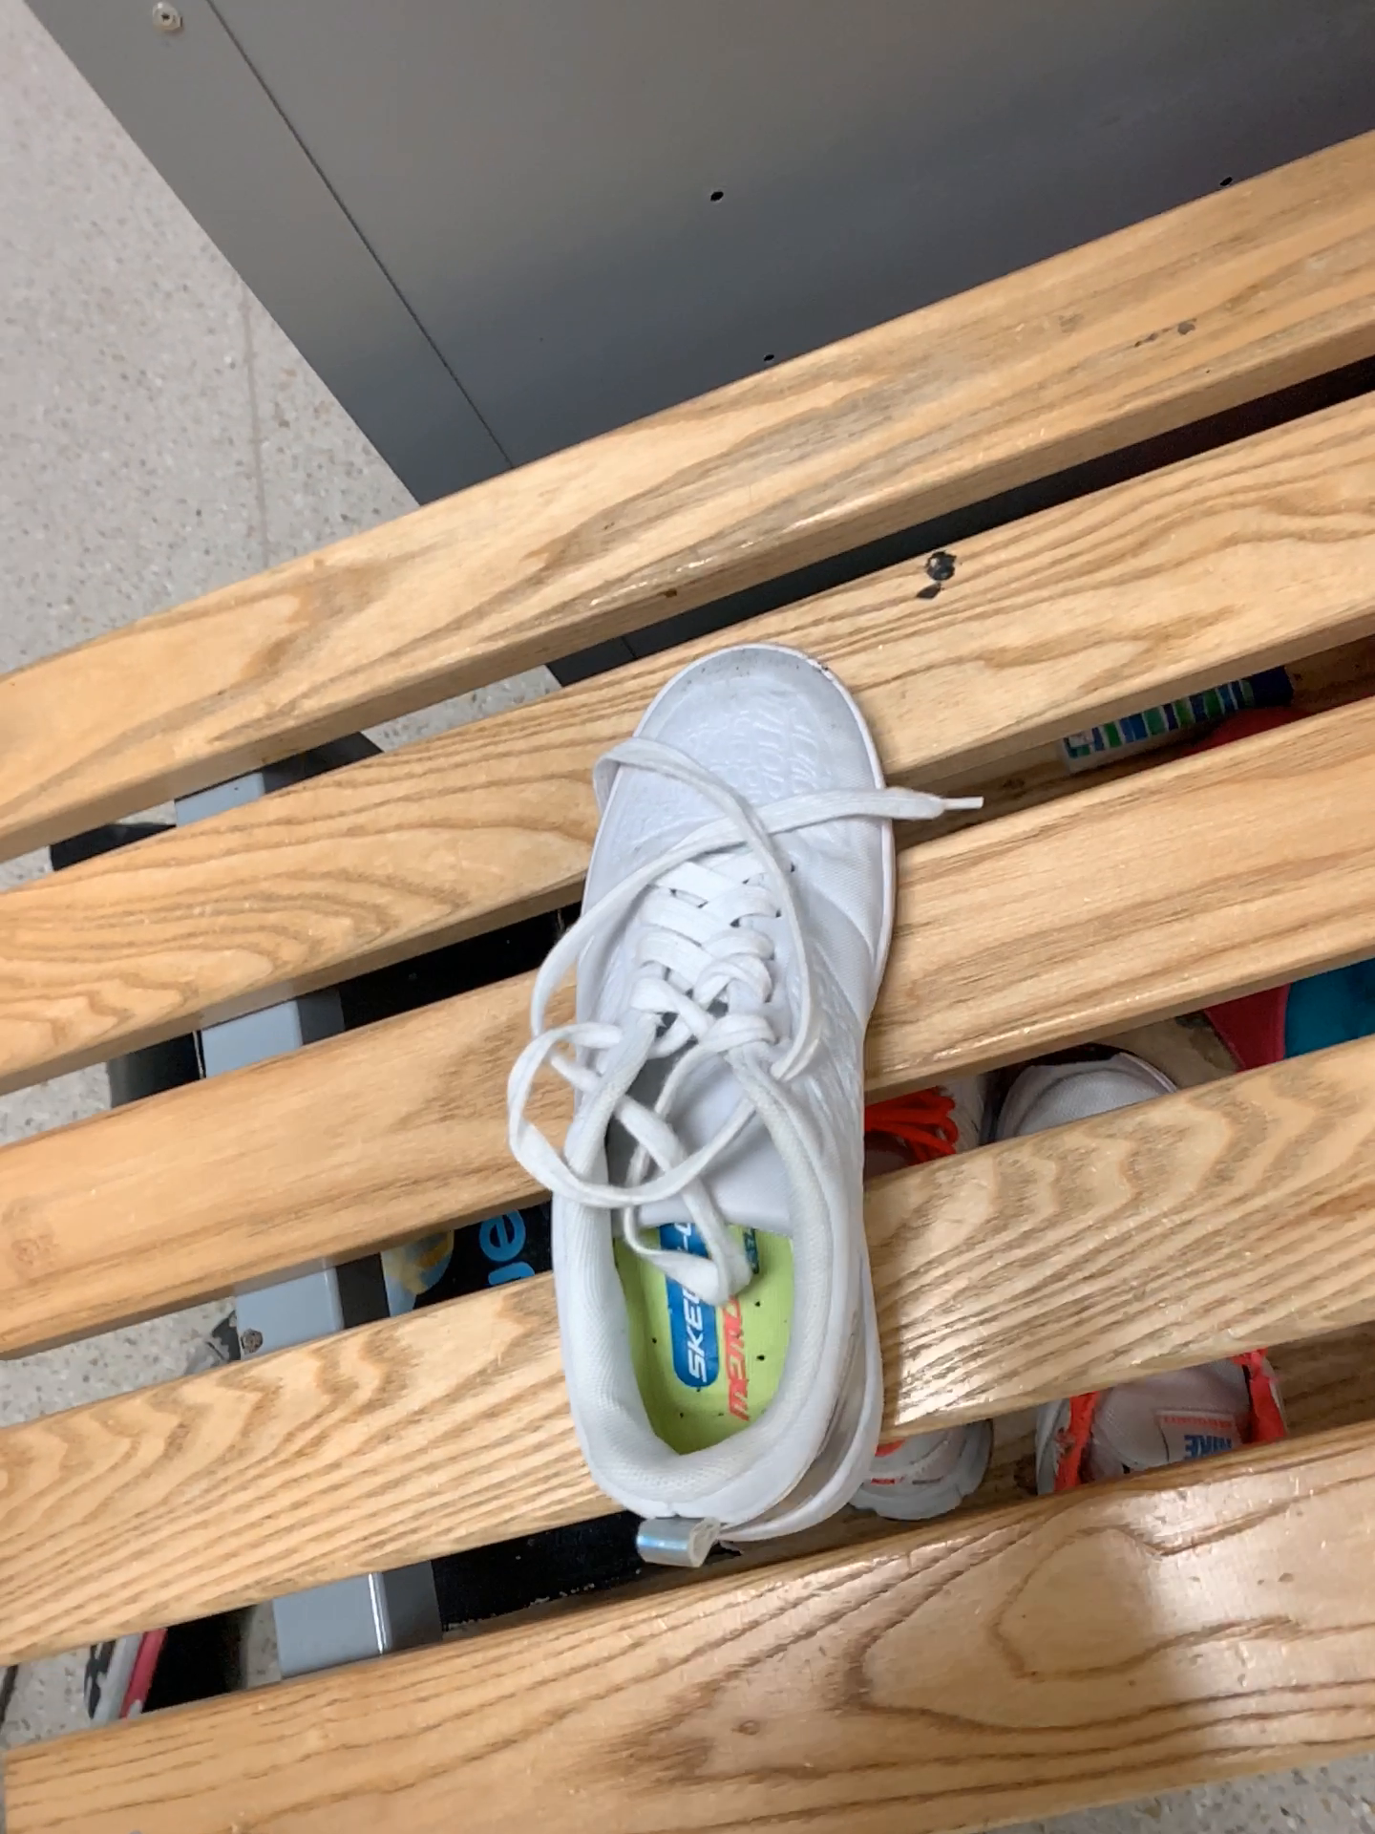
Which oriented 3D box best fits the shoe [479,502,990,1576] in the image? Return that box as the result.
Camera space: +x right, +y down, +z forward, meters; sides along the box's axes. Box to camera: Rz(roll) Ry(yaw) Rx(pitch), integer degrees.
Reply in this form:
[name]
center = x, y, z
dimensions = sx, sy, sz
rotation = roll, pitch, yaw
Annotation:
[shoe]
center = 0.009, 0.029, 0.371
dimensions = 0.099, 0.076, 0.251
rotation = -9, 70, 13
